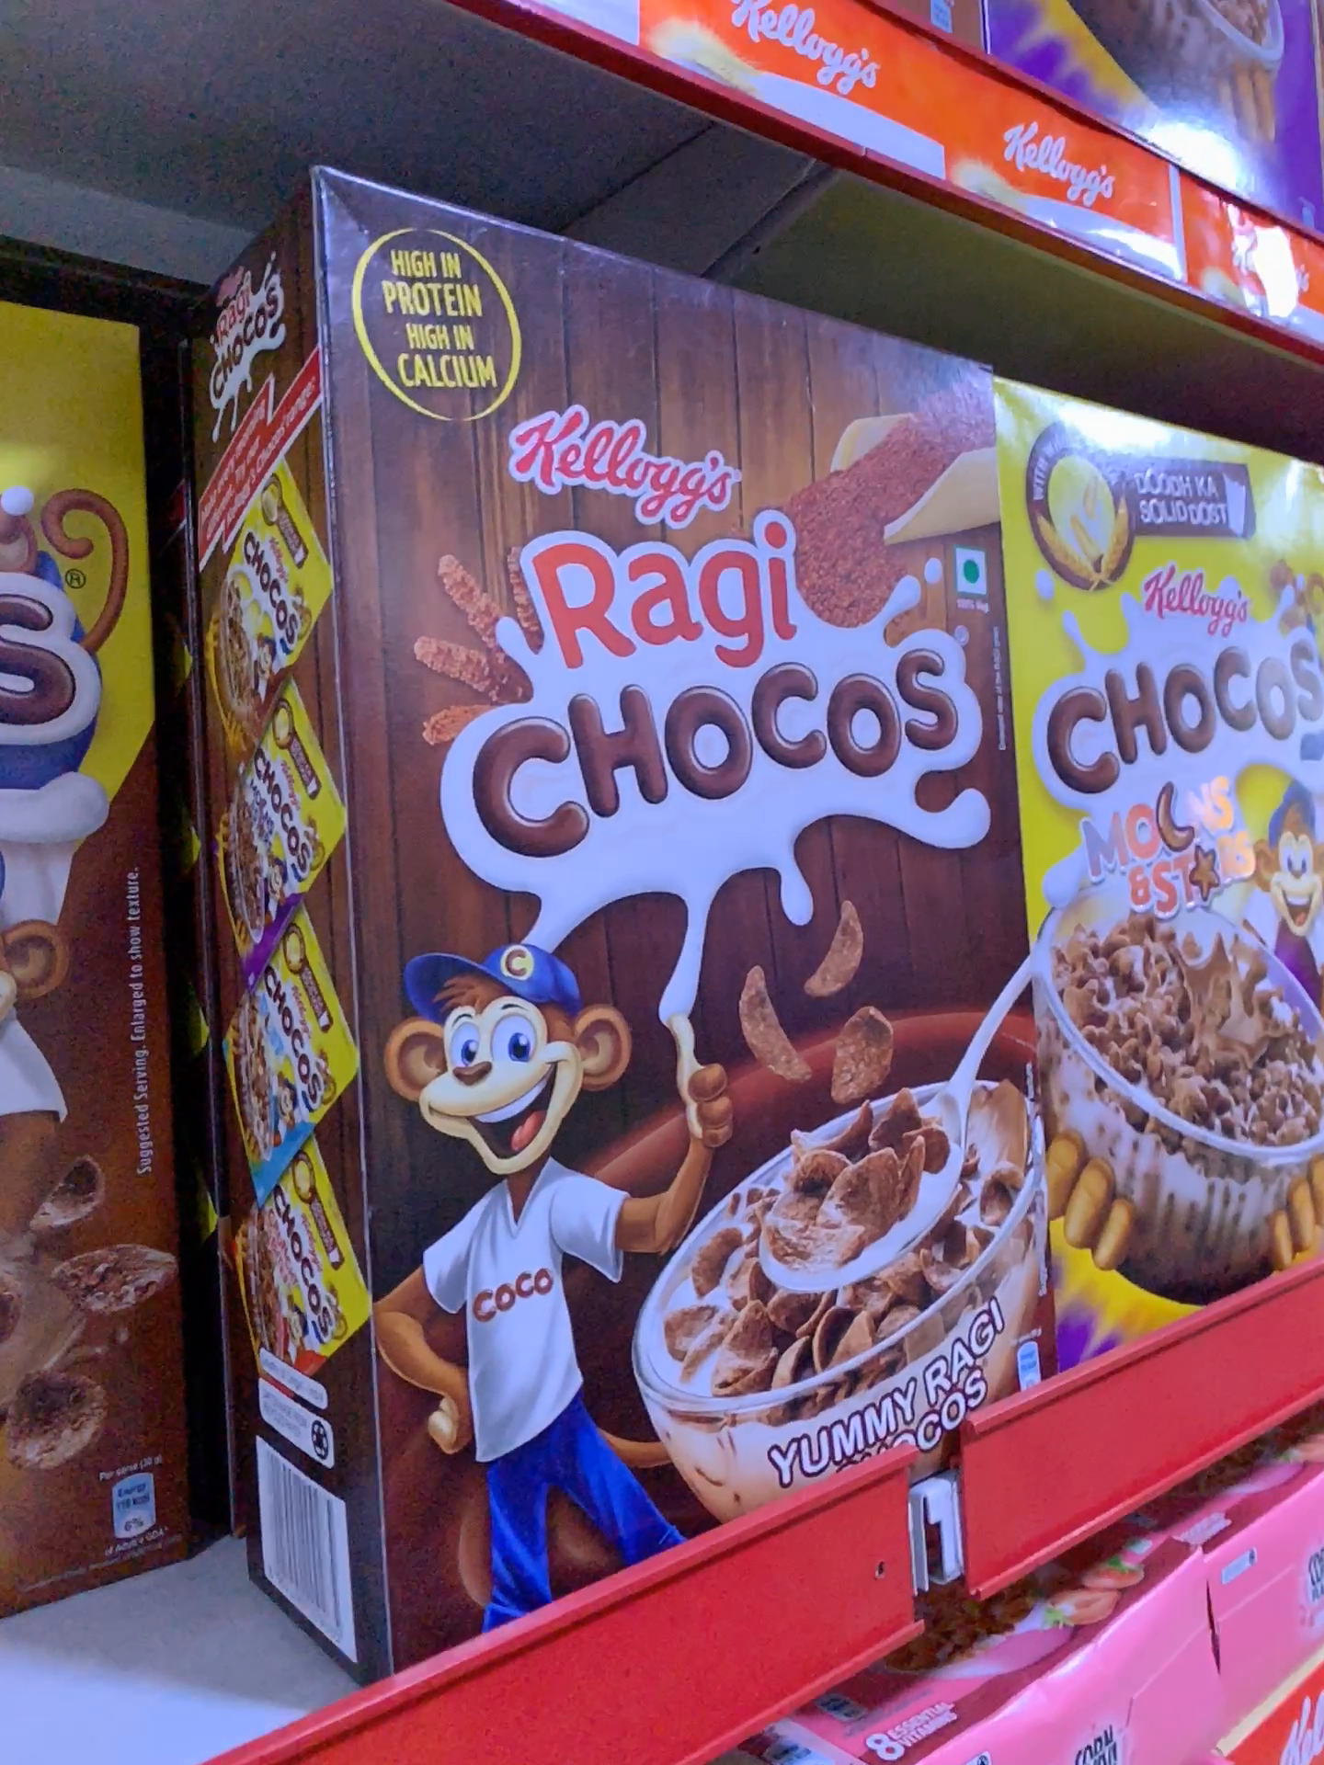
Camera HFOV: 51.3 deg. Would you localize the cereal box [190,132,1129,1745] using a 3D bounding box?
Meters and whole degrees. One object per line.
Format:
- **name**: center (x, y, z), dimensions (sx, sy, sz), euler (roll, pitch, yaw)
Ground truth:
- **cereal box**: center (0.010, 0.004, 0.284), dimensions (0.180, 0.240, 0.060), euler (-3, -1, -38)
